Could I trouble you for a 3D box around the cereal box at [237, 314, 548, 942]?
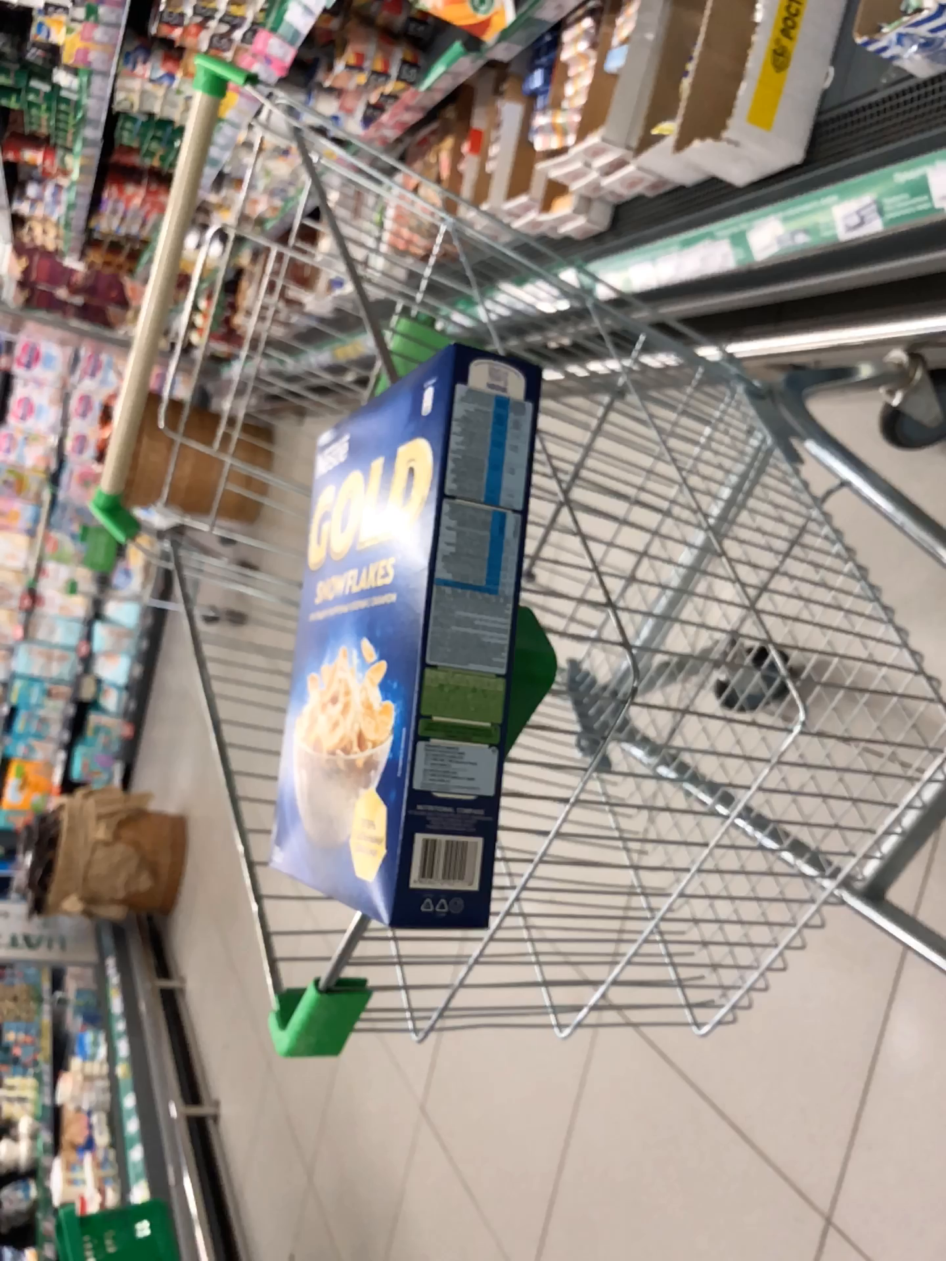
[{"bbox_3d":[-0.050,0.004,0.545,0.201,0.050,0.270,-8,74,60],"label":"cereal box"}]
